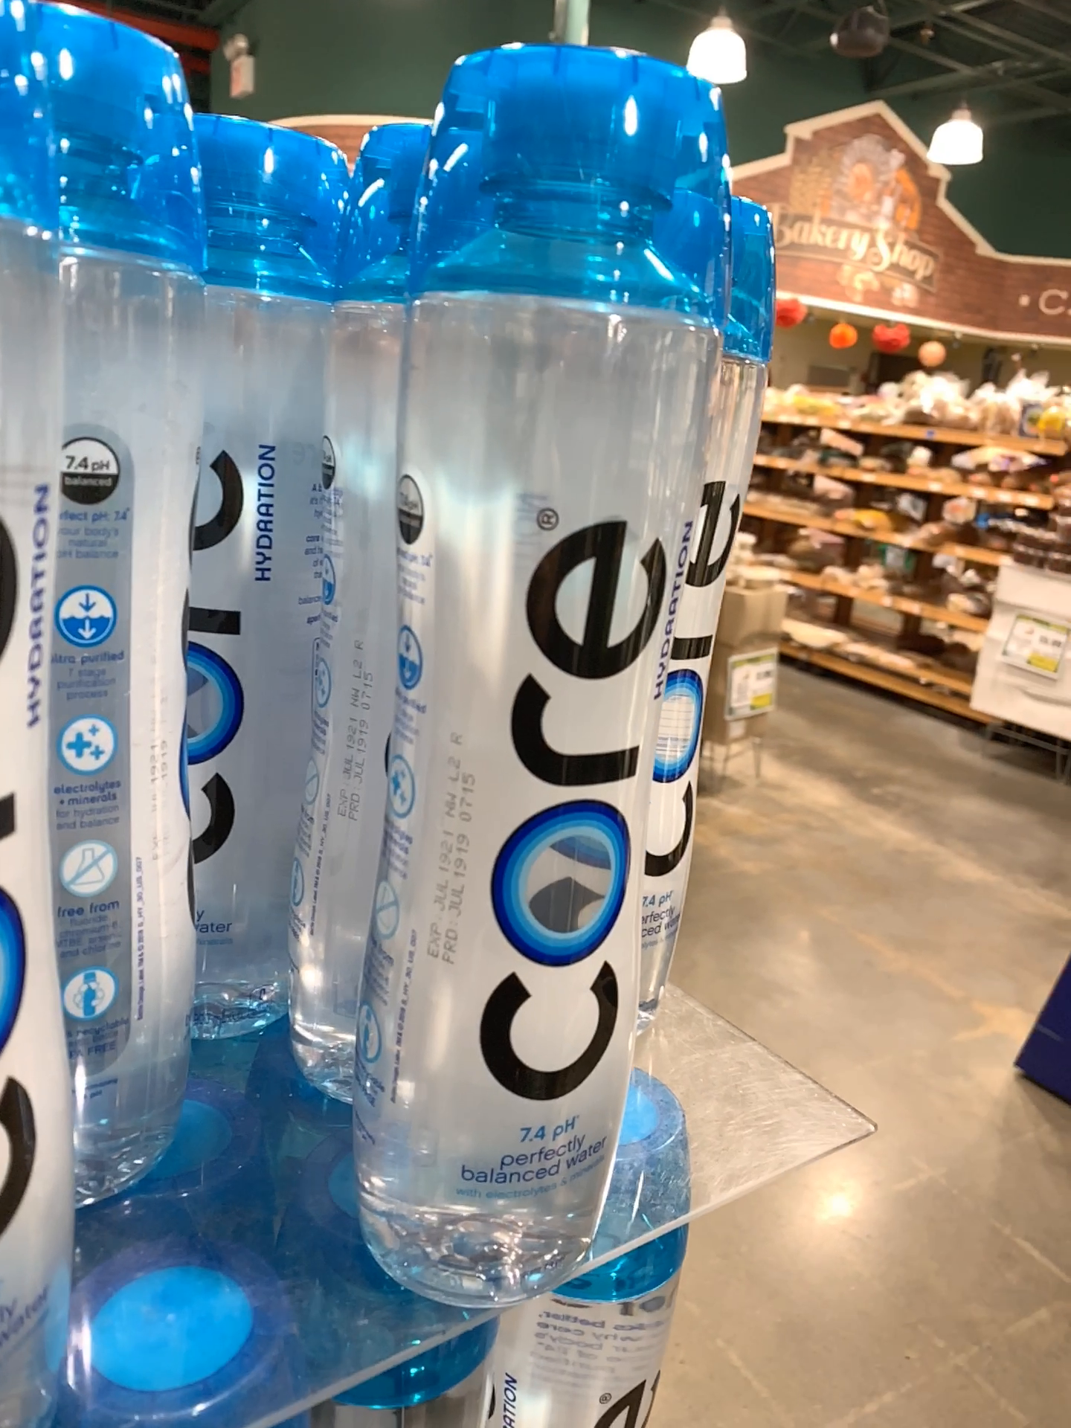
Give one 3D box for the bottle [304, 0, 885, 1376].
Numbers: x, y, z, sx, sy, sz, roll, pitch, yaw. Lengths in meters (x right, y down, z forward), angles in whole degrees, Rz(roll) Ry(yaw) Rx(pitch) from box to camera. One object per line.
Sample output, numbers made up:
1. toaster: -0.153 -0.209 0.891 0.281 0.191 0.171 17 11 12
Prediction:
1. bottle: 0.000 0.002 0.278 0.080 0.289 0.090 -2 17 -28
